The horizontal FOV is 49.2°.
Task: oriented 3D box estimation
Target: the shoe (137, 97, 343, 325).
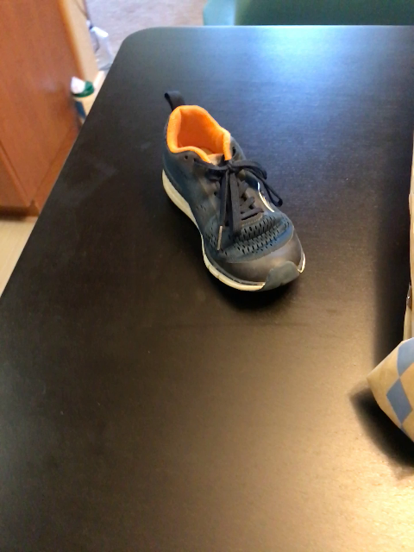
[{"bbox_3d":[0.019,-0.065,0.389,0.084,0.072,0.187,-23,55,-13],"label":"shoe"}]
